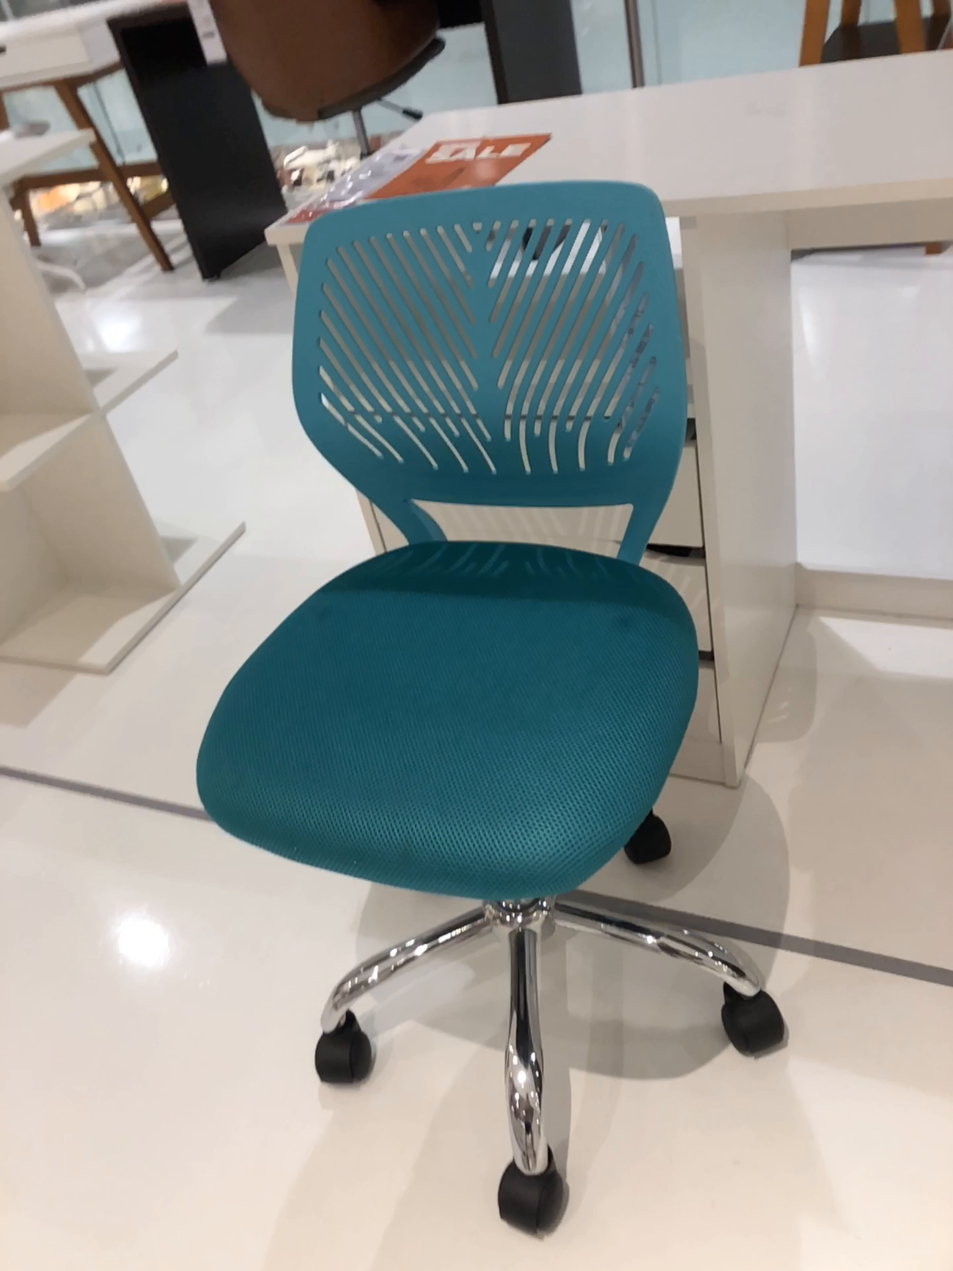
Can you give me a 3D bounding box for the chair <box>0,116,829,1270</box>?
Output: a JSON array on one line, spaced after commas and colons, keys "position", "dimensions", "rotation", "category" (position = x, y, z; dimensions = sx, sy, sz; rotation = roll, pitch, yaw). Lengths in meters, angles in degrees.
[{"position": [-0.002, 0.057, 0.869], "dimensions": [0.501, 0.725, 0.503], "rotation": [4, 40, 24], "category": "chair"}]
